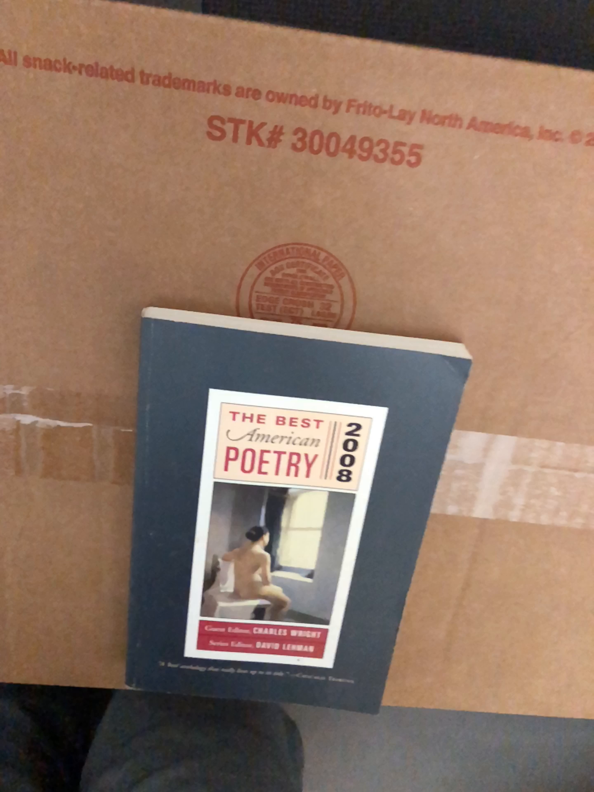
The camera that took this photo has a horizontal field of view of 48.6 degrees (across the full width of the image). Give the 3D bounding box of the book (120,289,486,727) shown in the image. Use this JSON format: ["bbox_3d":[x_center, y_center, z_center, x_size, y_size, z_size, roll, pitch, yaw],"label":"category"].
[{"bbox_3d":[-0.009,0.069,0.325,0.150,0.020,0.230,5,114,-3],"label":"book"}]
